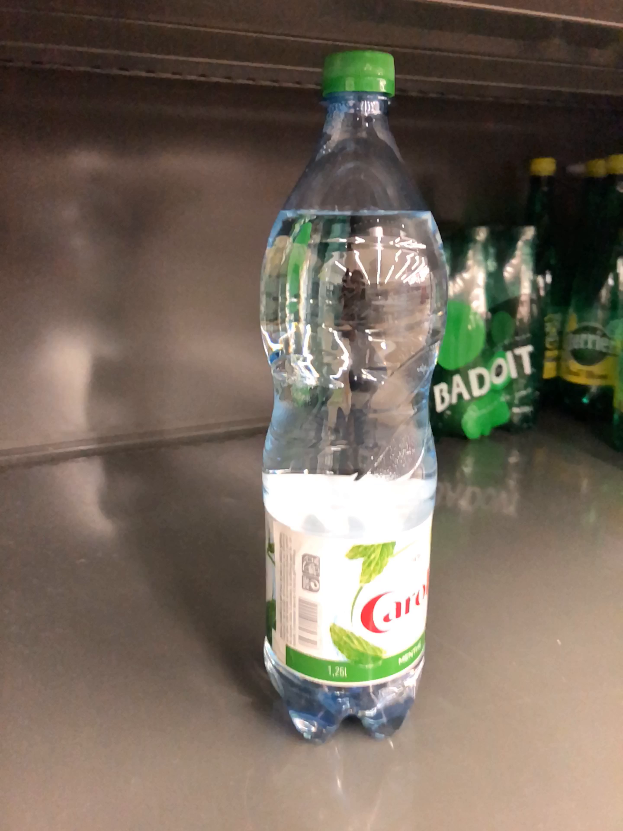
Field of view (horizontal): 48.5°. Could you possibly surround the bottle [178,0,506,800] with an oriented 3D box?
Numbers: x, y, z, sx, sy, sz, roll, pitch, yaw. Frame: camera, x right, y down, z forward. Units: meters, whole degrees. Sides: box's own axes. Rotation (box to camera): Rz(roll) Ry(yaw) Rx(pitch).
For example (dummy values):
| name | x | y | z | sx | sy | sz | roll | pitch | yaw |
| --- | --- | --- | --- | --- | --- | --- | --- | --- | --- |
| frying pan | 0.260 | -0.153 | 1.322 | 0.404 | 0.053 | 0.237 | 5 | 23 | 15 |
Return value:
| name | x | y | z | sx | sy | sz | roll | pitch | yaw |
| --- | --- | --- | --- | --- | --- | --- | --- | --- | --- |
| bottle | 0.013 | -0.004 | 0.344 | 0.100 | 0.339 | 0.100 | 0 | 16 | 0 |
